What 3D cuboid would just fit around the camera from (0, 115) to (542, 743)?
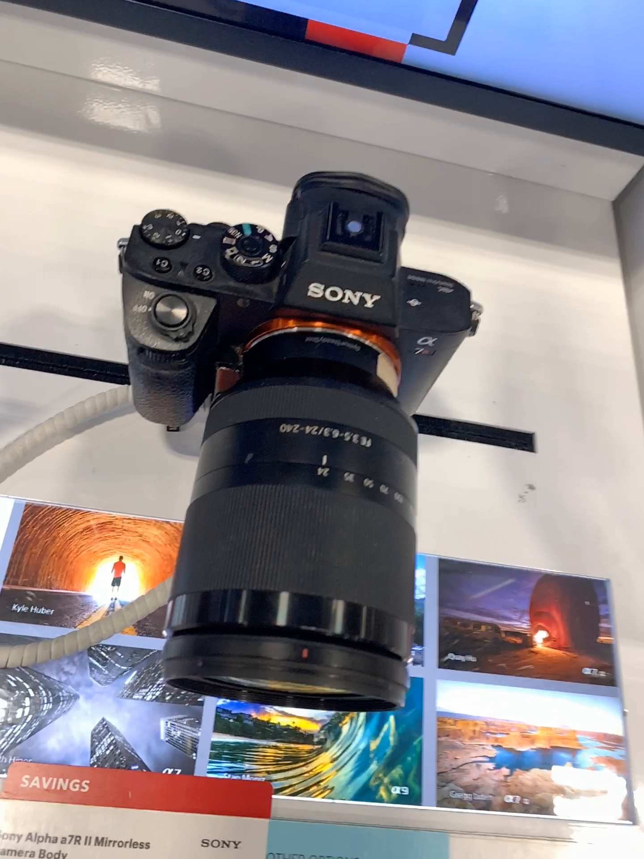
[{"bbox_3d":[-0.016,0.007,0.229,0.130,0.100,0.172,8,65,-8],"label":"camera"}]
